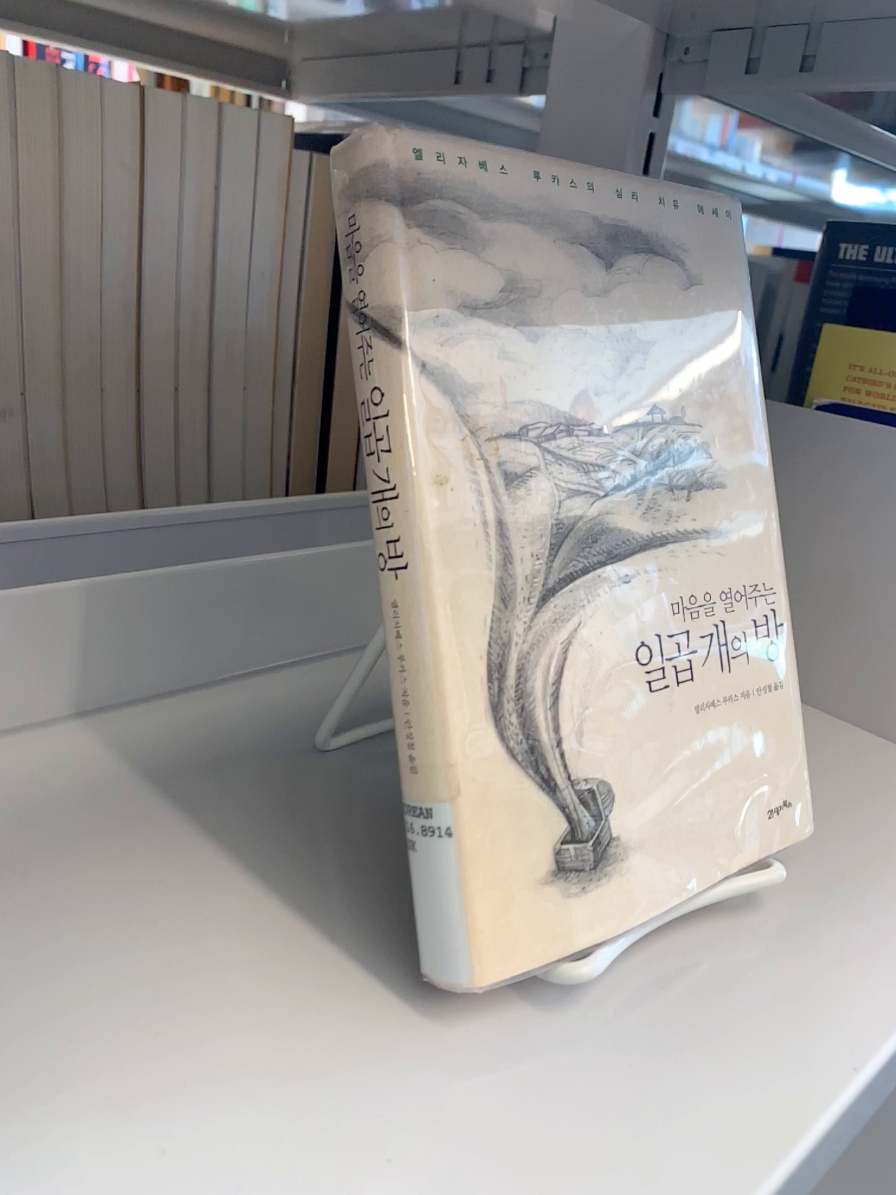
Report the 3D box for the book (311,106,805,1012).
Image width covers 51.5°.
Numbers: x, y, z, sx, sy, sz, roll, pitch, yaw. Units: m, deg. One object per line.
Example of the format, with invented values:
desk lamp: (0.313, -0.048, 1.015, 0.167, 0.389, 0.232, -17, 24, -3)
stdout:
book: (0.039, -0.014, 0.245, 0.137, 0.192, 0.019, -7, 3, -37)
